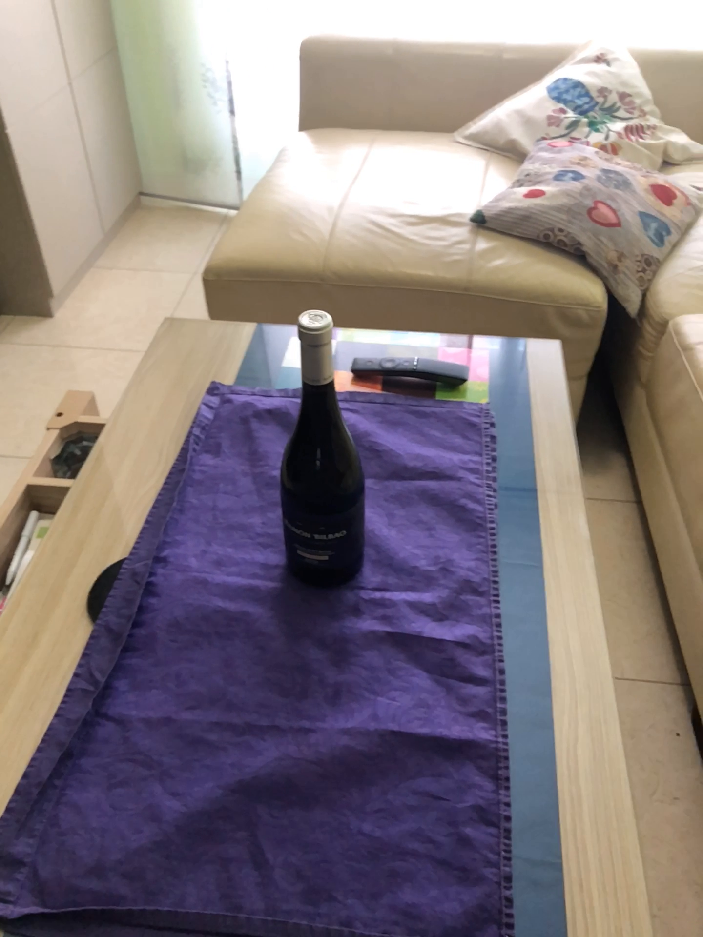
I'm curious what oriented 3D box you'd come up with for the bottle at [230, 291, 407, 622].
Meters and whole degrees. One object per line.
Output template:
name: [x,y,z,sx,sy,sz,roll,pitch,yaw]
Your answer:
bottle: [-0.023,-0.003,0.688,0.100,0.269,0.100,0,41,0]
